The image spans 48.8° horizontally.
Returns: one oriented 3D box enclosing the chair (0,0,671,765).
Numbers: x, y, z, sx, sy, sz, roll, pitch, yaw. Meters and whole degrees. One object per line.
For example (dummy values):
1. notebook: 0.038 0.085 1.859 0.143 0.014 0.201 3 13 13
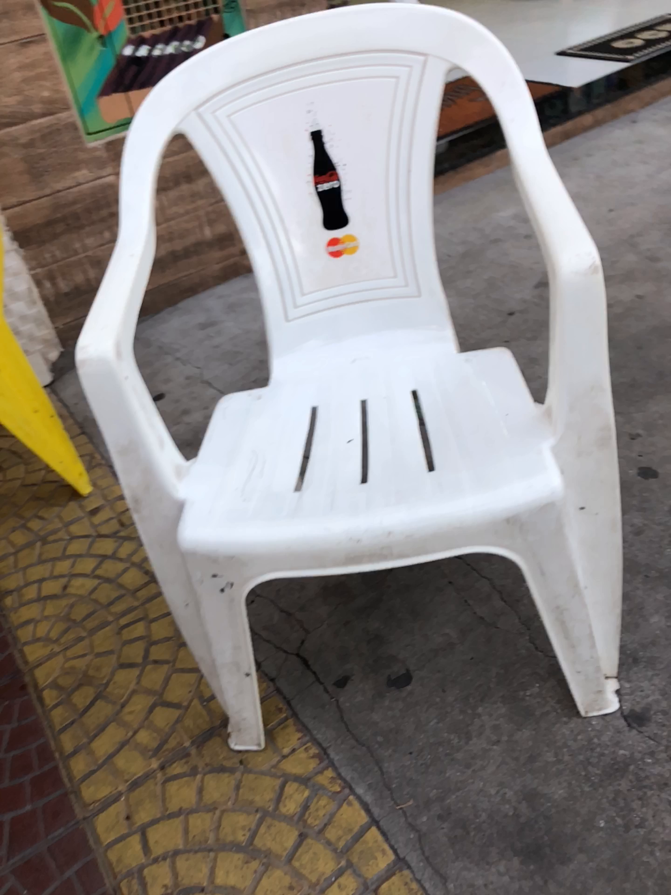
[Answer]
1. chair: -0.025 -0.072 0.960 0.640 0.745 0.554 -7 37 6
